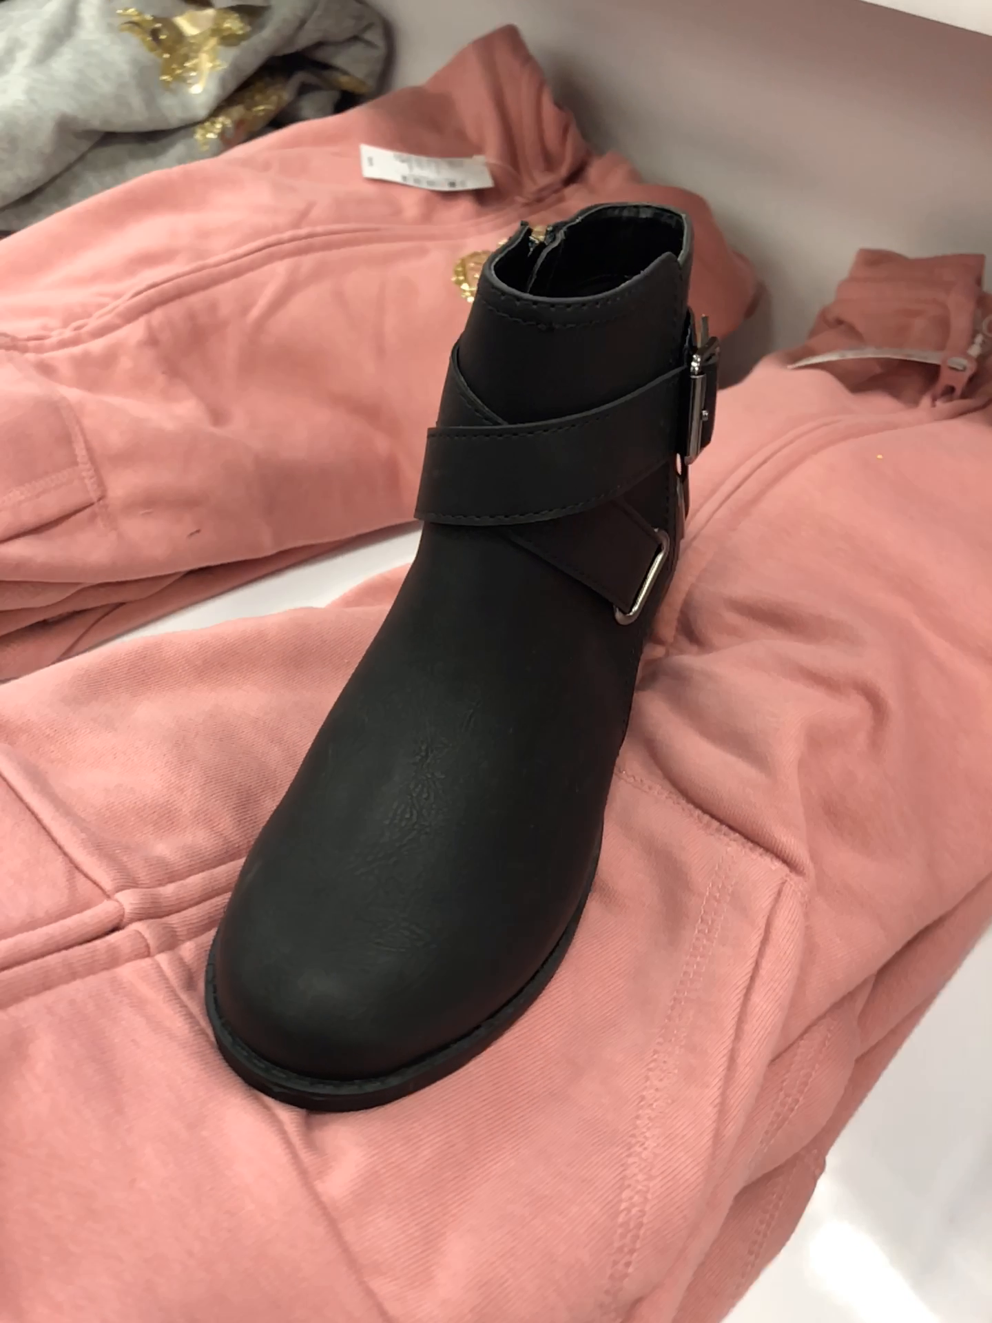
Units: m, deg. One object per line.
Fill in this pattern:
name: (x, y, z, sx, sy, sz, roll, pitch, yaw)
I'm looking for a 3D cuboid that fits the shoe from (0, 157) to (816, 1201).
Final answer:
shoe: (0.001, -0.014, 0.256, 0.080, 0.129, 0.201, 18, 43, 14)
